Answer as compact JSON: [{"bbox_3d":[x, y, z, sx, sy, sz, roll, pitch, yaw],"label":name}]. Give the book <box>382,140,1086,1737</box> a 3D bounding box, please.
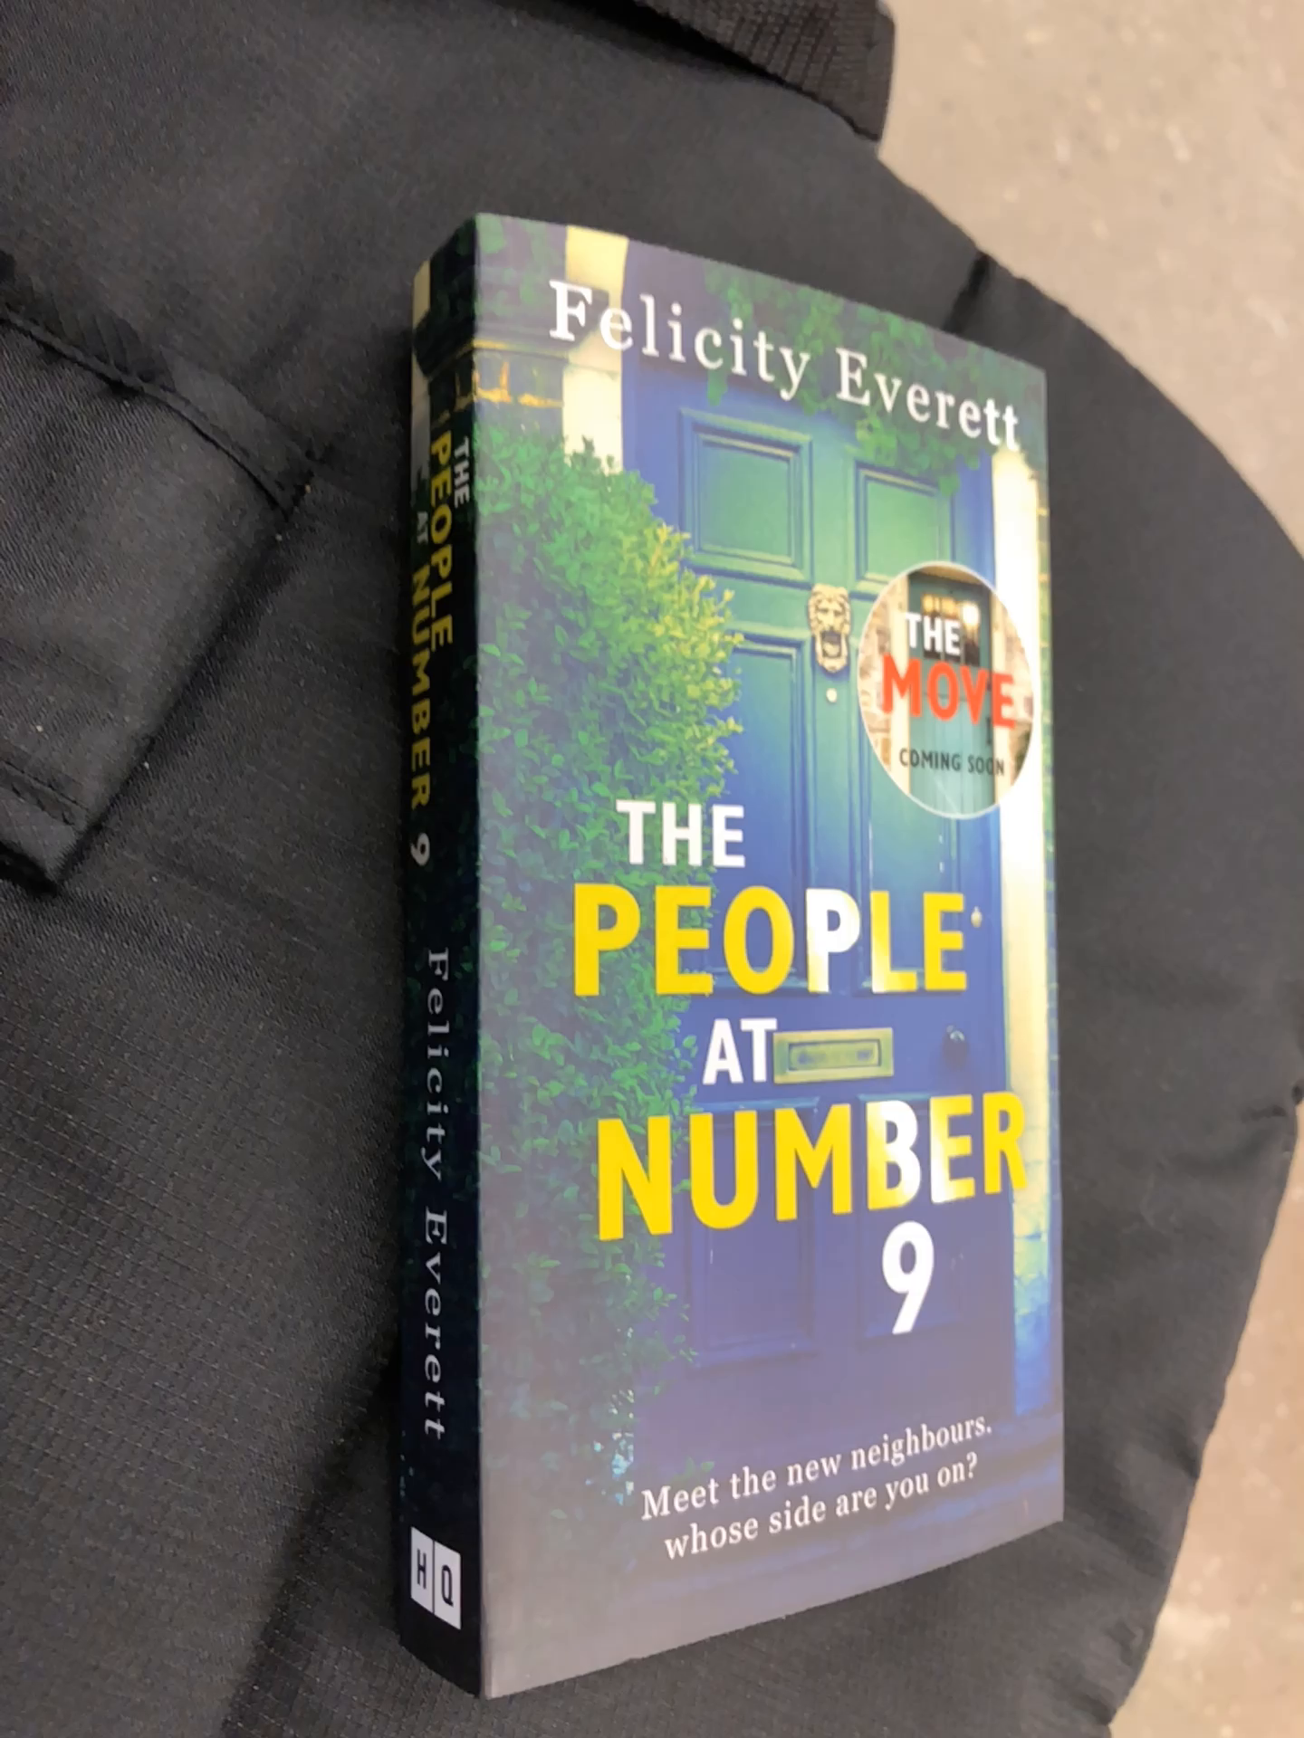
[{"bbox_3d":[0.017,0.009,0.223,0.111,0.030,0.195,2,87,-36],"label":"book"}]
